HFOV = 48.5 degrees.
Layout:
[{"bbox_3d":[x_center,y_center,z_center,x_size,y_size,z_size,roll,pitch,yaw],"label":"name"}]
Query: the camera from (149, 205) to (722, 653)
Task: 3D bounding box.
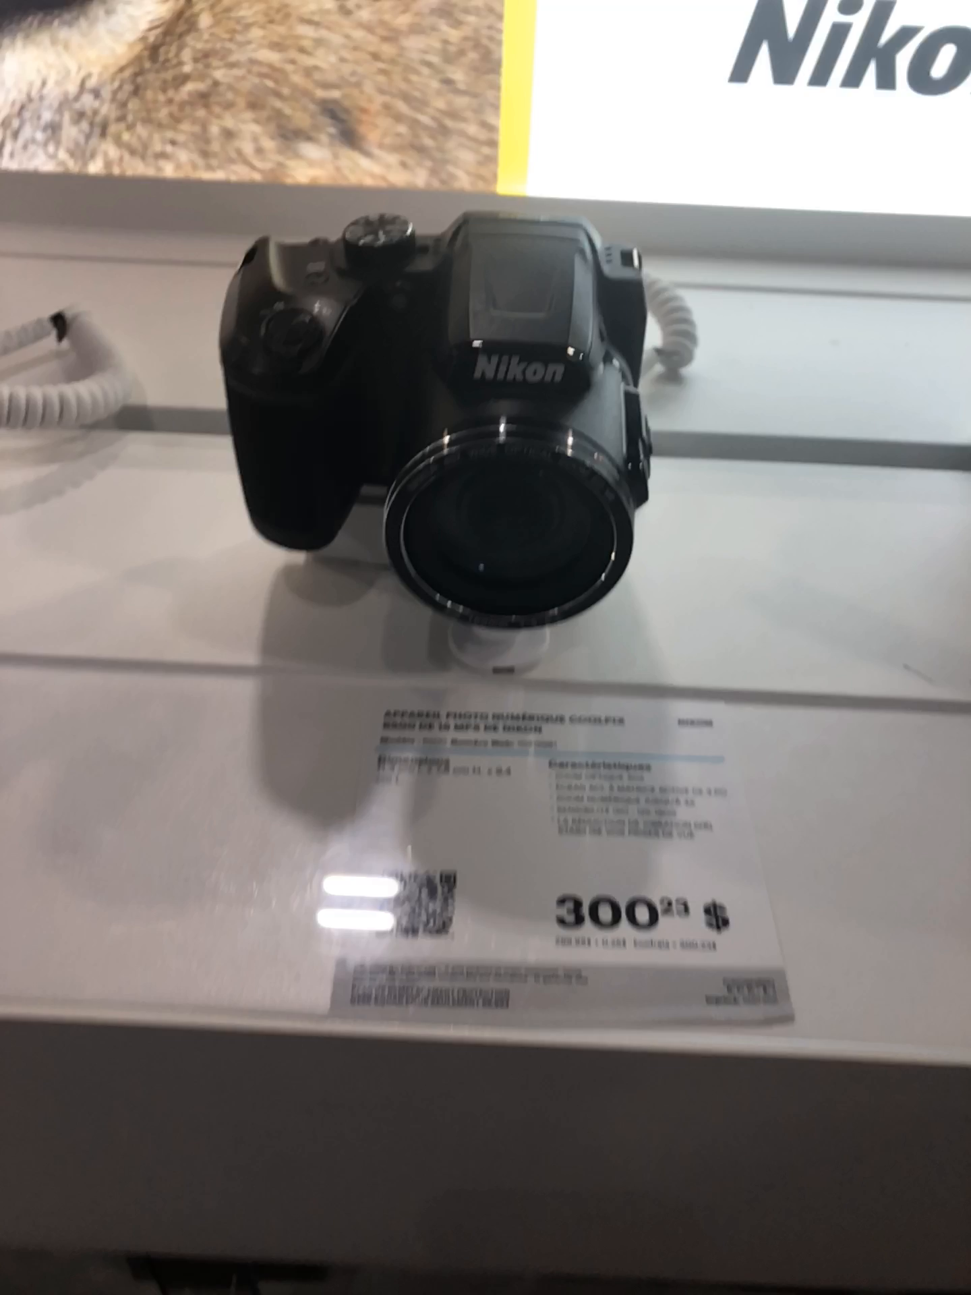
[{"bbox_3d":[-0.009,-0.055,0.263,0.111,0.069,0.085,3,41,1],"label":"camera"}]
